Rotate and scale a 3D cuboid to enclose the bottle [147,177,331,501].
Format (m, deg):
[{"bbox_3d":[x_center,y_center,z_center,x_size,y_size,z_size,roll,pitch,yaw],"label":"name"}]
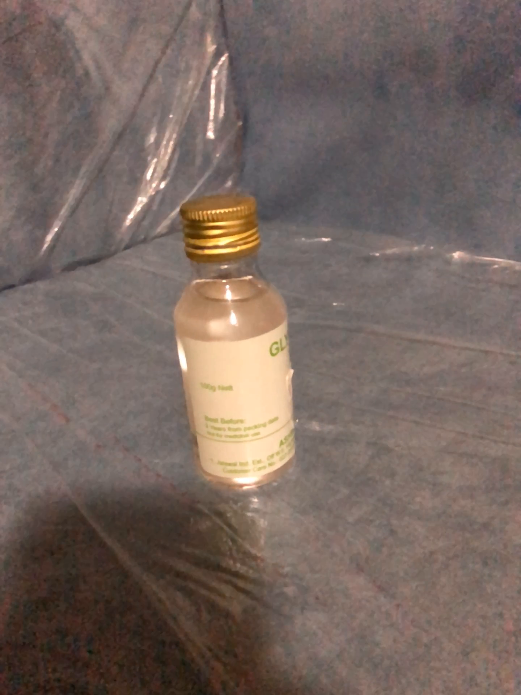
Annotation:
[{"bbox_3d":[-0.001,-0.003,0.204,0.050,0.100,0.050,-3,28,1],"label":"bottle"}]
